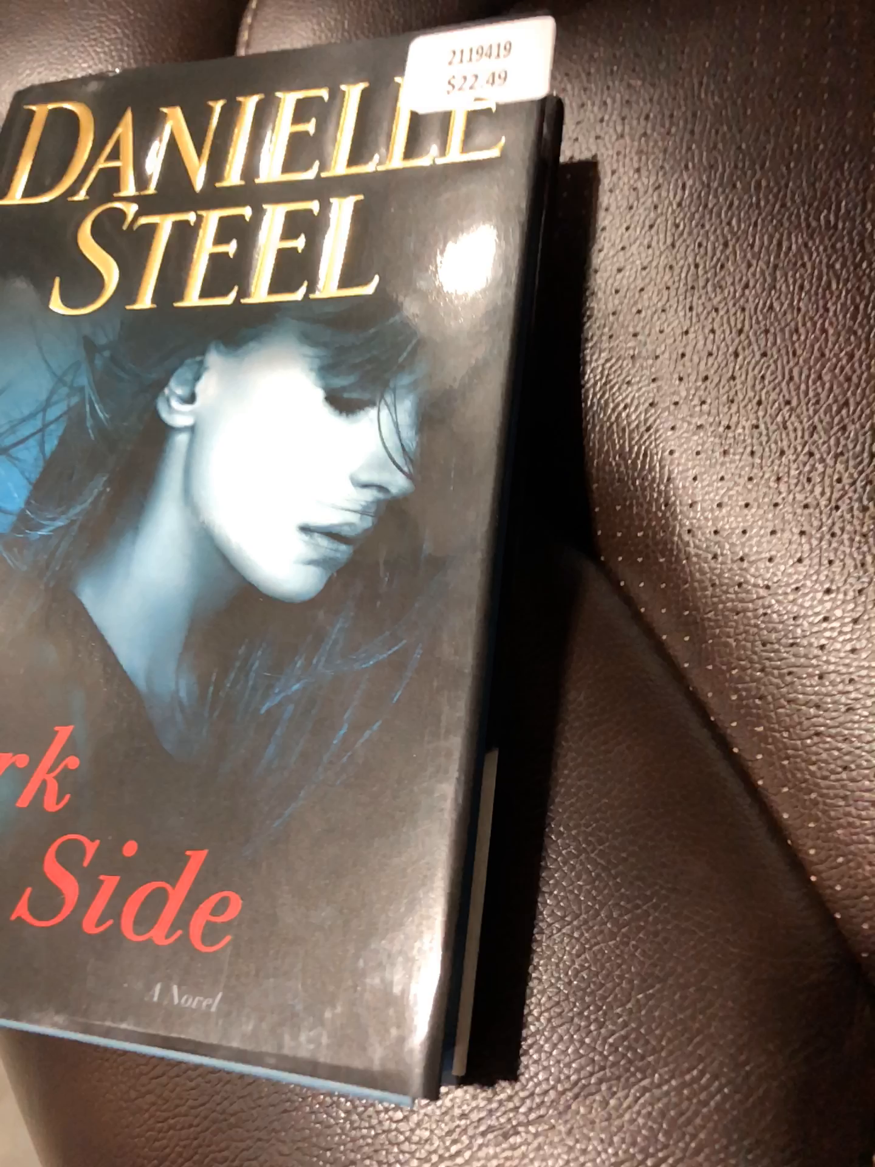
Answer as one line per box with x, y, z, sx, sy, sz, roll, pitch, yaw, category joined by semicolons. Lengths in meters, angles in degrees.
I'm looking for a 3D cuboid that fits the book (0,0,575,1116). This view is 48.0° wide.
-0.063;-0.023;0.234;0.168;0.040;0.237;1;70;17;book
